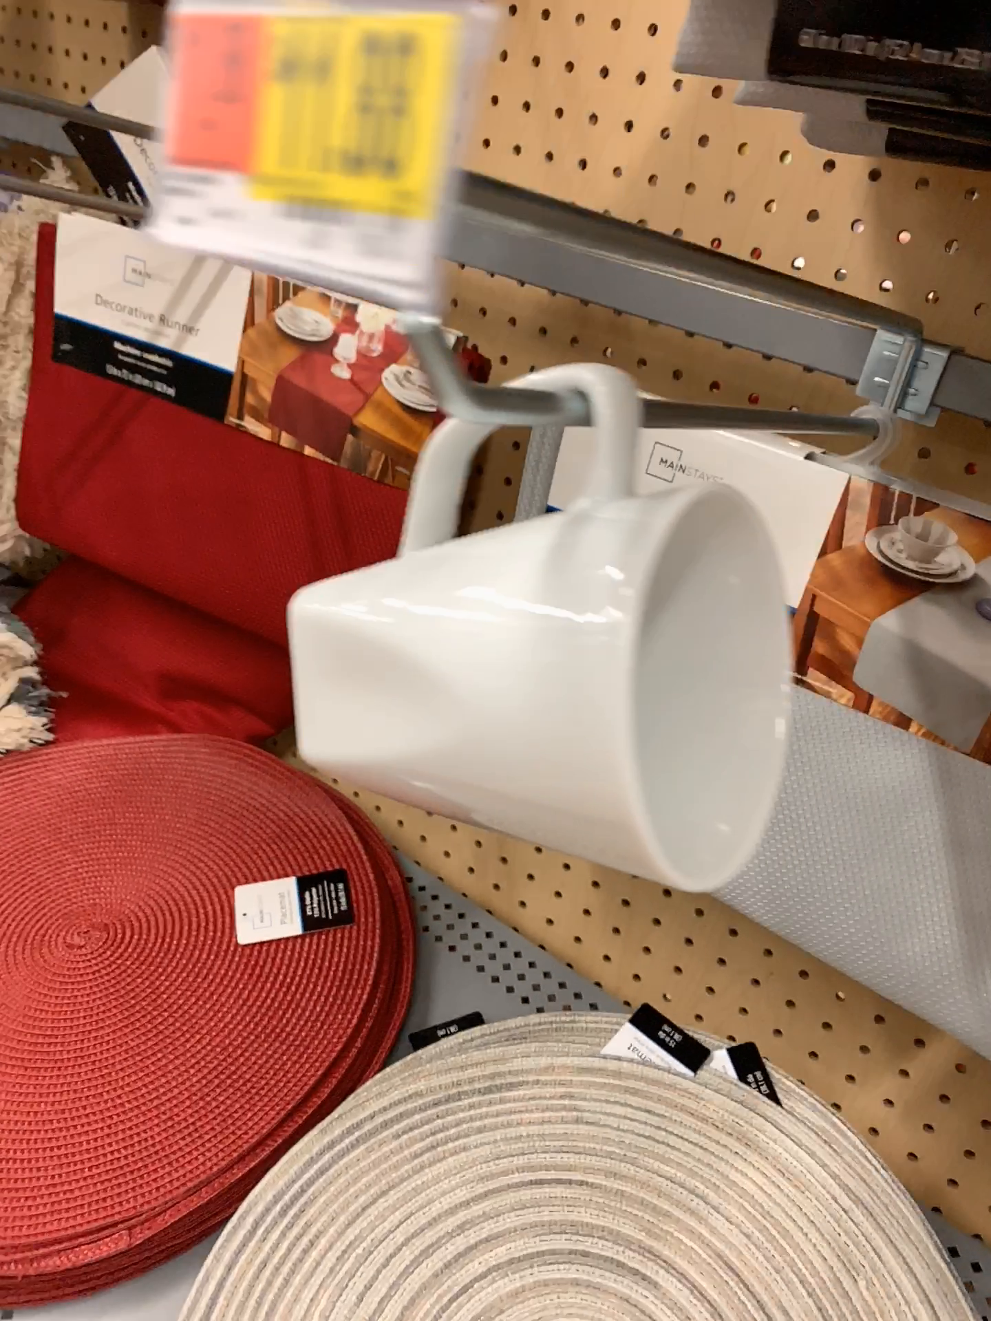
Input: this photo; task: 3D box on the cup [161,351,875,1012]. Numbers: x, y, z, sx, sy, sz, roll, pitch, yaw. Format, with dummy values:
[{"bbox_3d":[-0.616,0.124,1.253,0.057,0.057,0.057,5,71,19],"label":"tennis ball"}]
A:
[{"bbox_3d":[0.002,-0.013,0.254,0.140,0.120,0.090,13,20,35],"label":"cup"}]
